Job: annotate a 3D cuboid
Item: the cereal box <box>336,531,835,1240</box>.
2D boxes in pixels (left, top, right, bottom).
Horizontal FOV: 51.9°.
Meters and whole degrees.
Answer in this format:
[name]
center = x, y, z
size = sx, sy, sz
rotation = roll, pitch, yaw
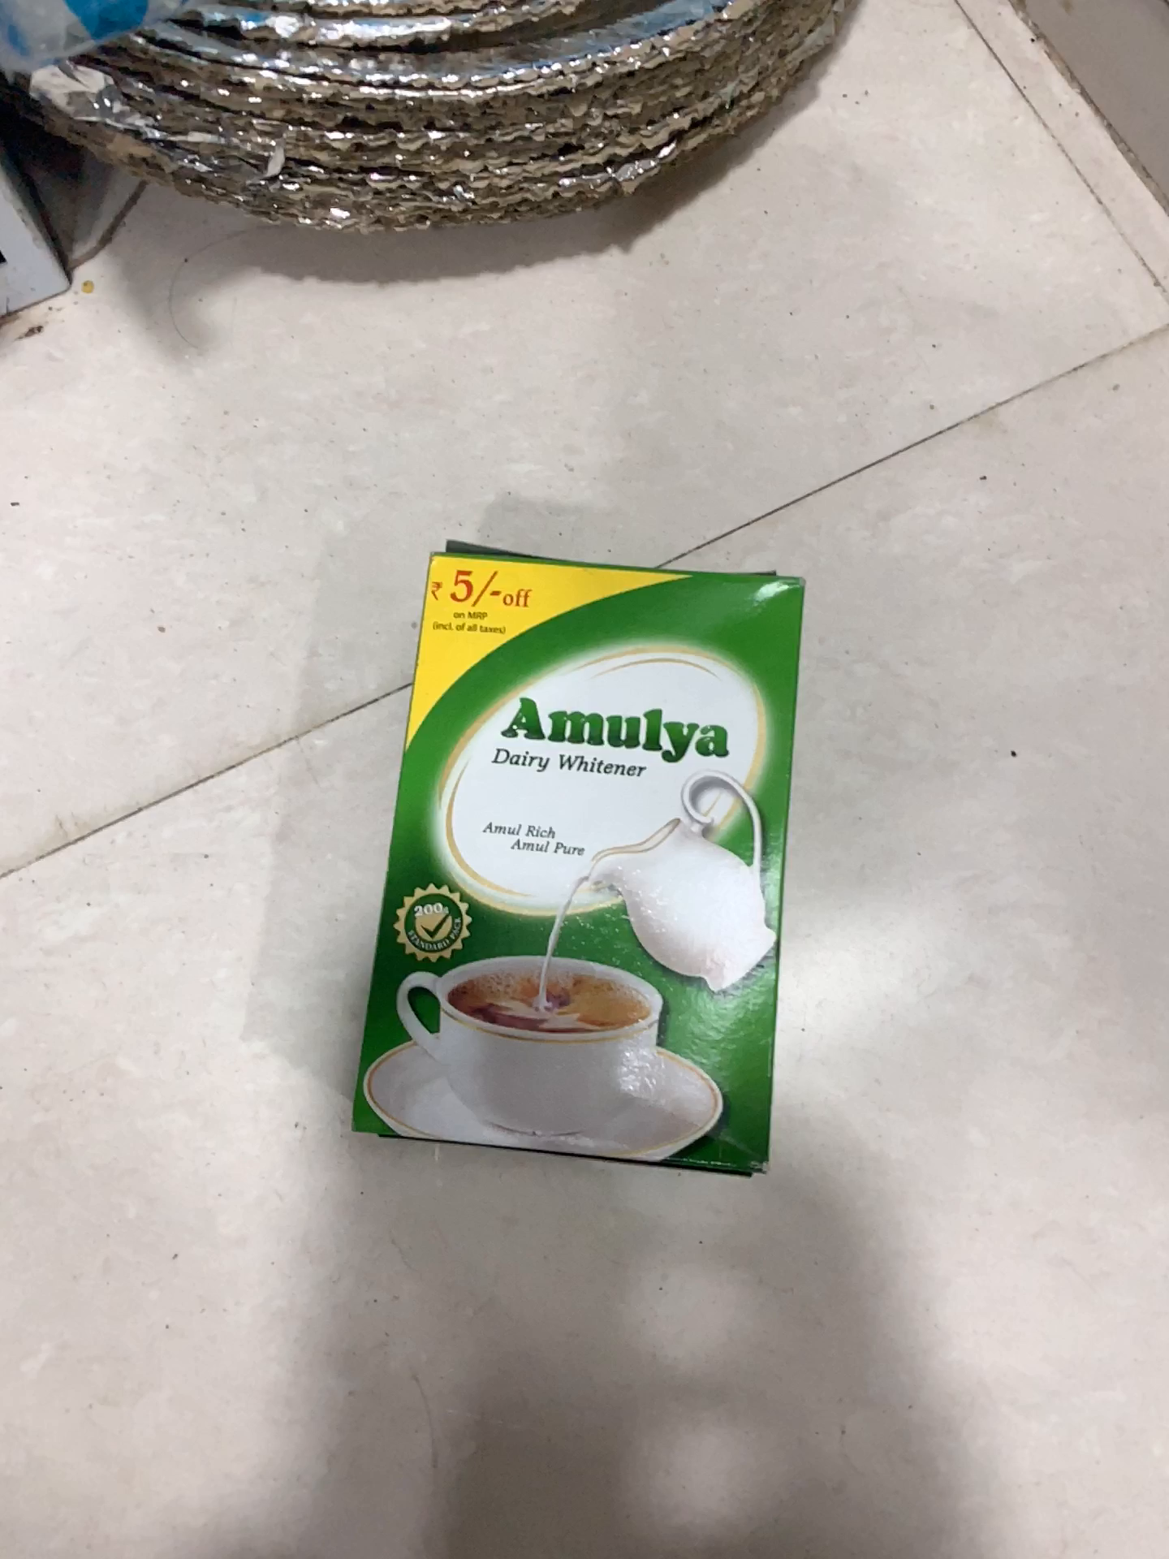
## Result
[cereal box]
center = 0.004, 0.023, 0.279
size = 0.090, 0.060, 0.140
rotation = 5, 77, 3
